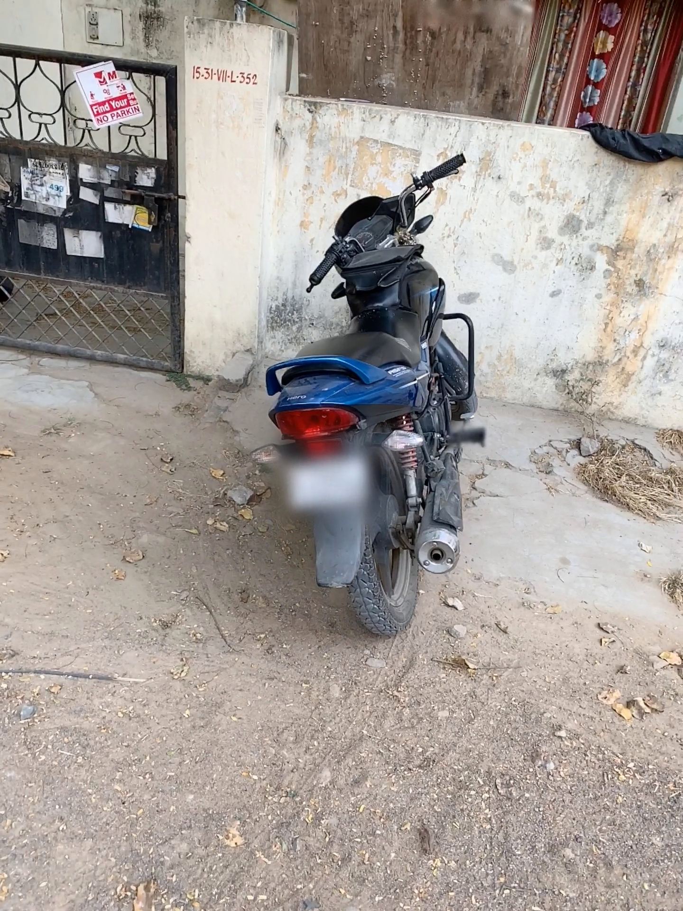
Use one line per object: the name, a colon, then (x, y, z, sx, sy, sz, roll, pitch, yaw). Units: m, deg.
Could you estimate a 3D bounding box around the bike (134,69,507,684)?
bike: (-0.073, -0.477, 2.366, 0.754, 1.233, 1.713, 7, 32, 1)
